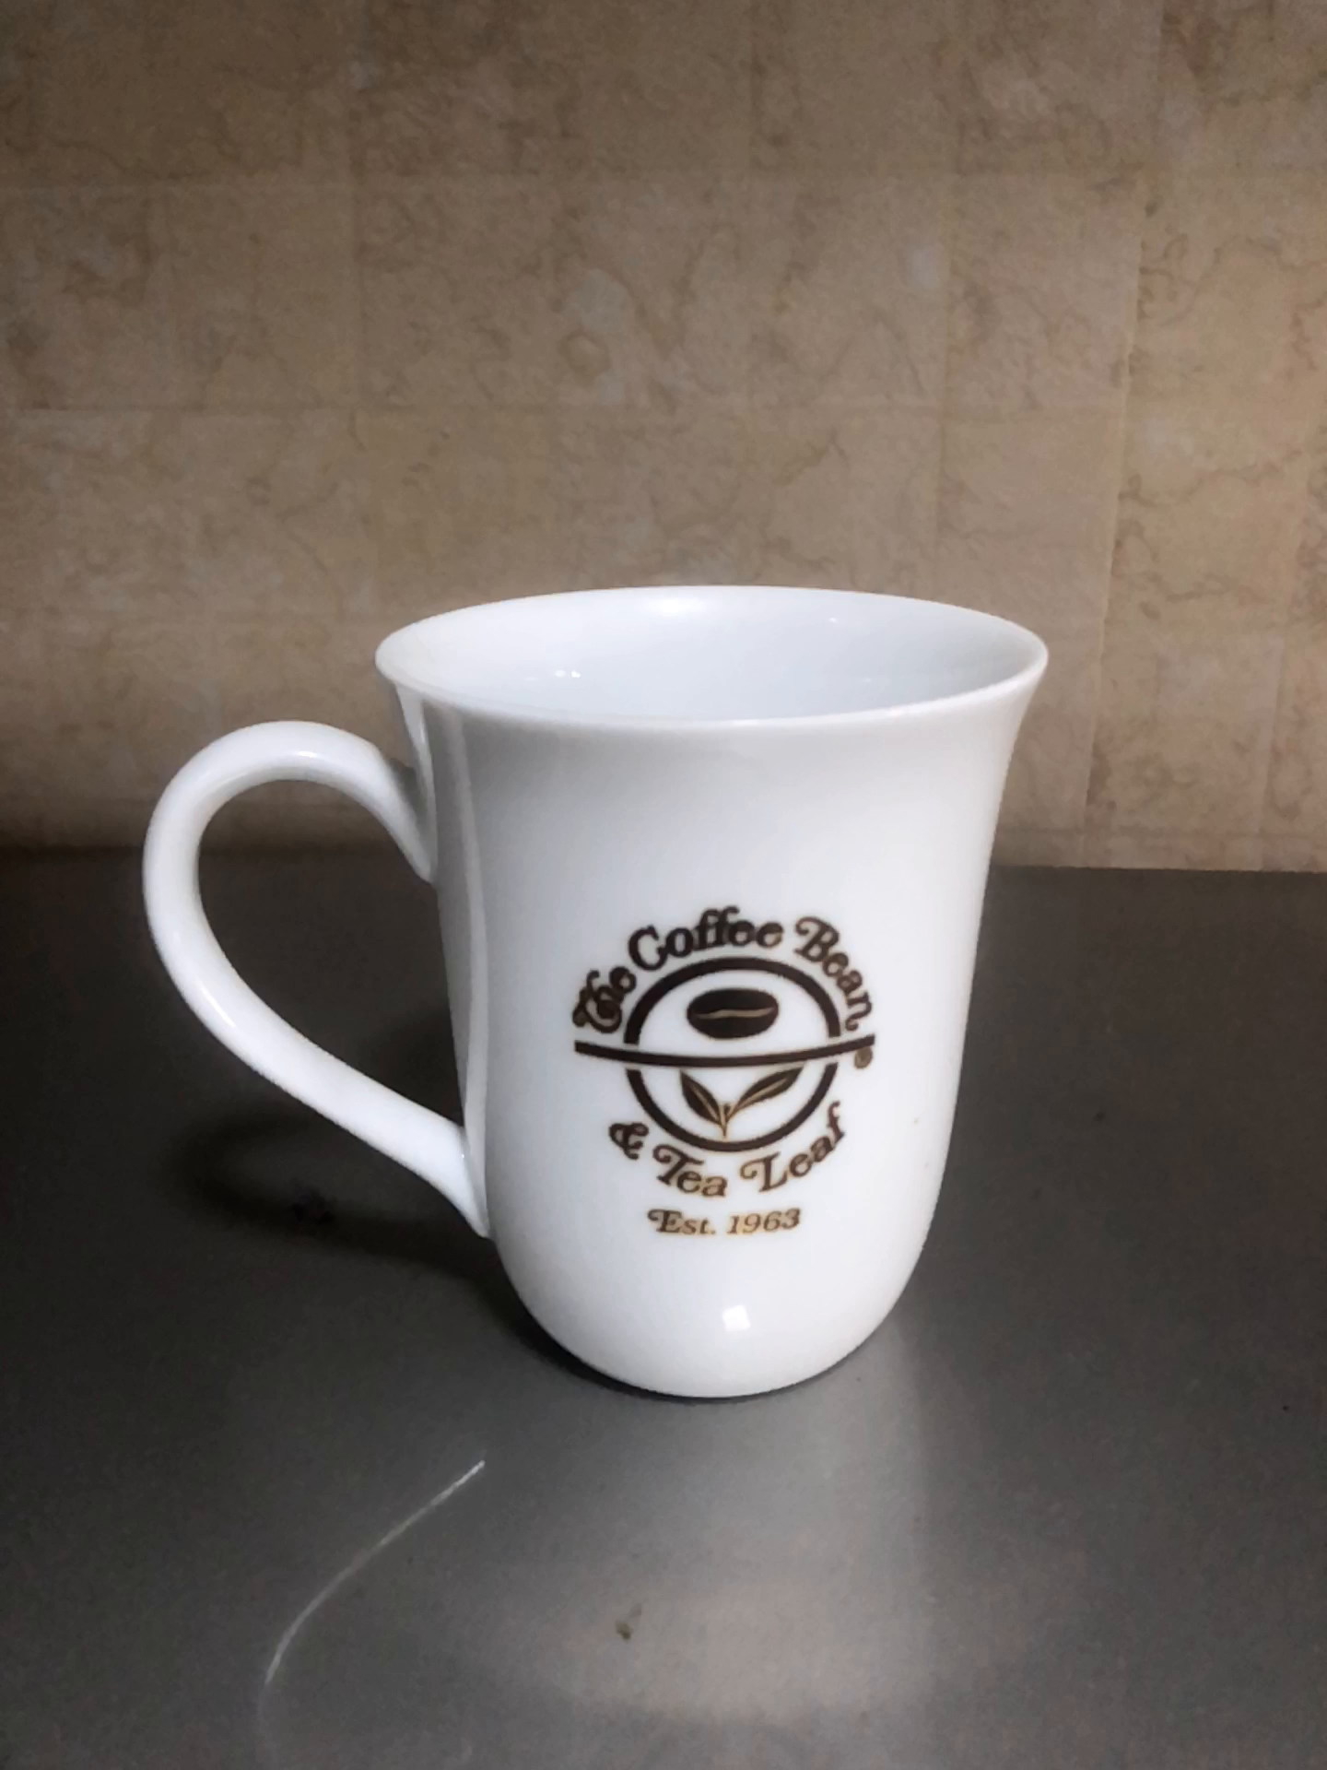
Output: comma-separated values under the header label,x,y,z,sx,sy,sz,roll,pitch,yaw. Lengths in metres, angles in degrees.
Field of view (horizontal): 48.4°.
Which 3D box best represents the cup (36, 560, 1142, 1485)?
label,x,y,z,sx,sy,sz,roll,pitch,yaw
cup,-0.012,0.012,0.234,0.130,0.109,0.090,-3,20,-7
